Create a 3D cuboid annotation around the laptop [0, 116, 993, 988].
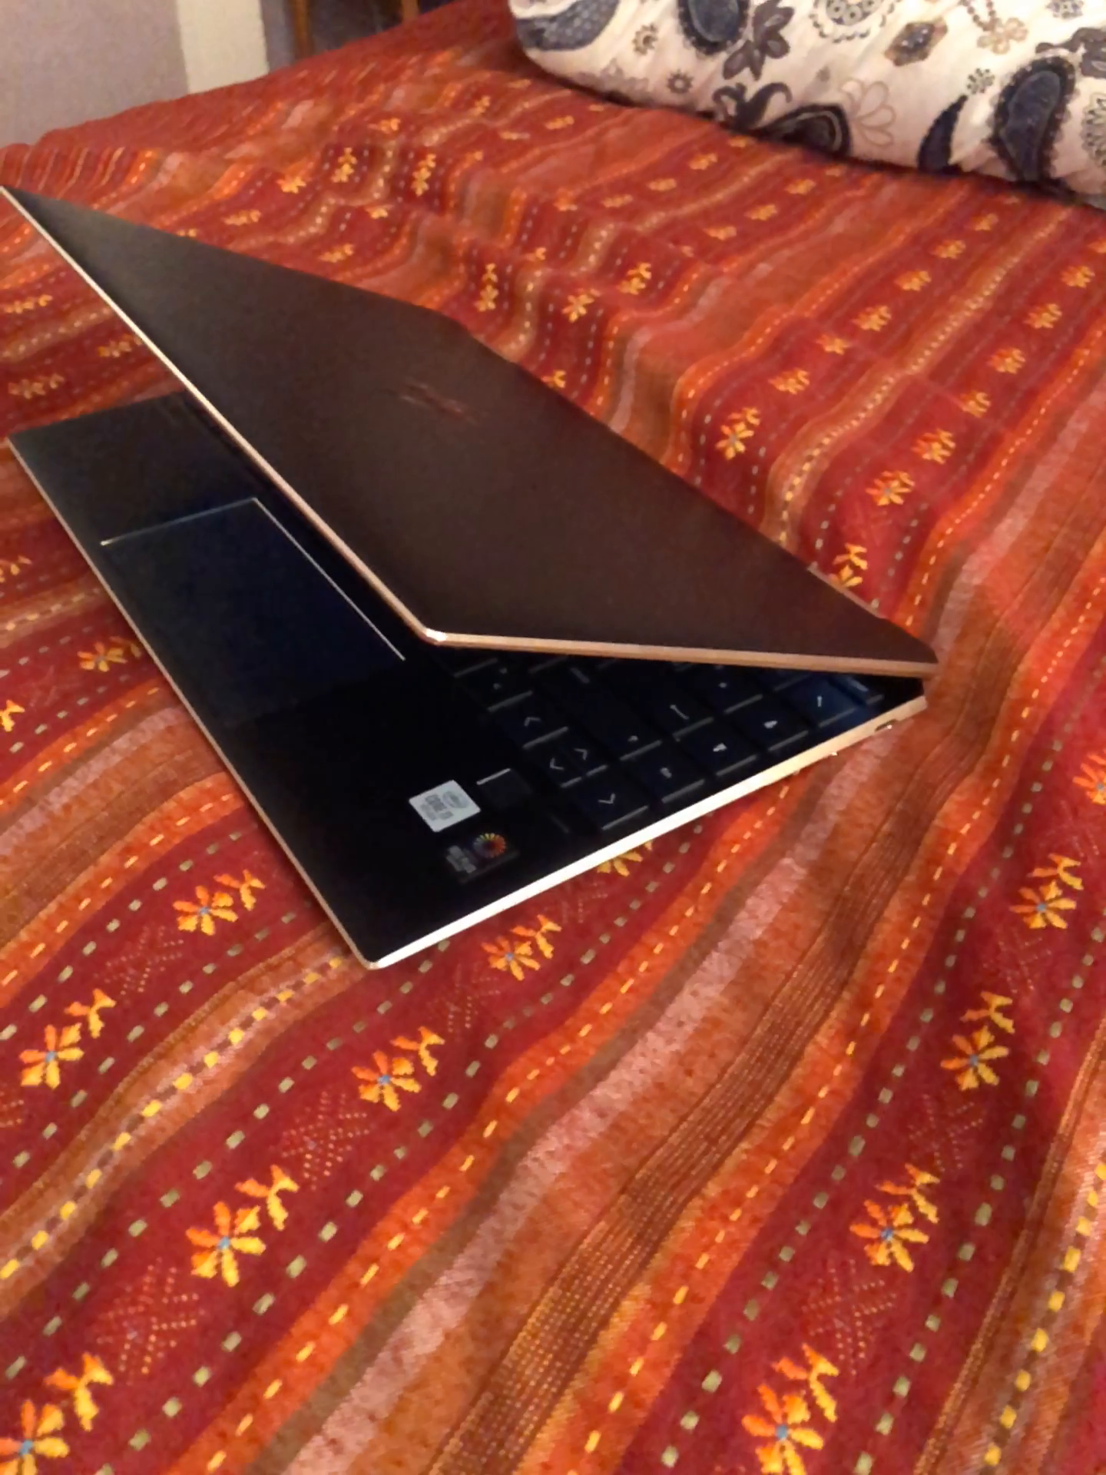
[{"bbox_3d":[-0.050,-0.107,0.402,0.203,0.101,0.326,-21,44,-28],"label":"laptop"}]
